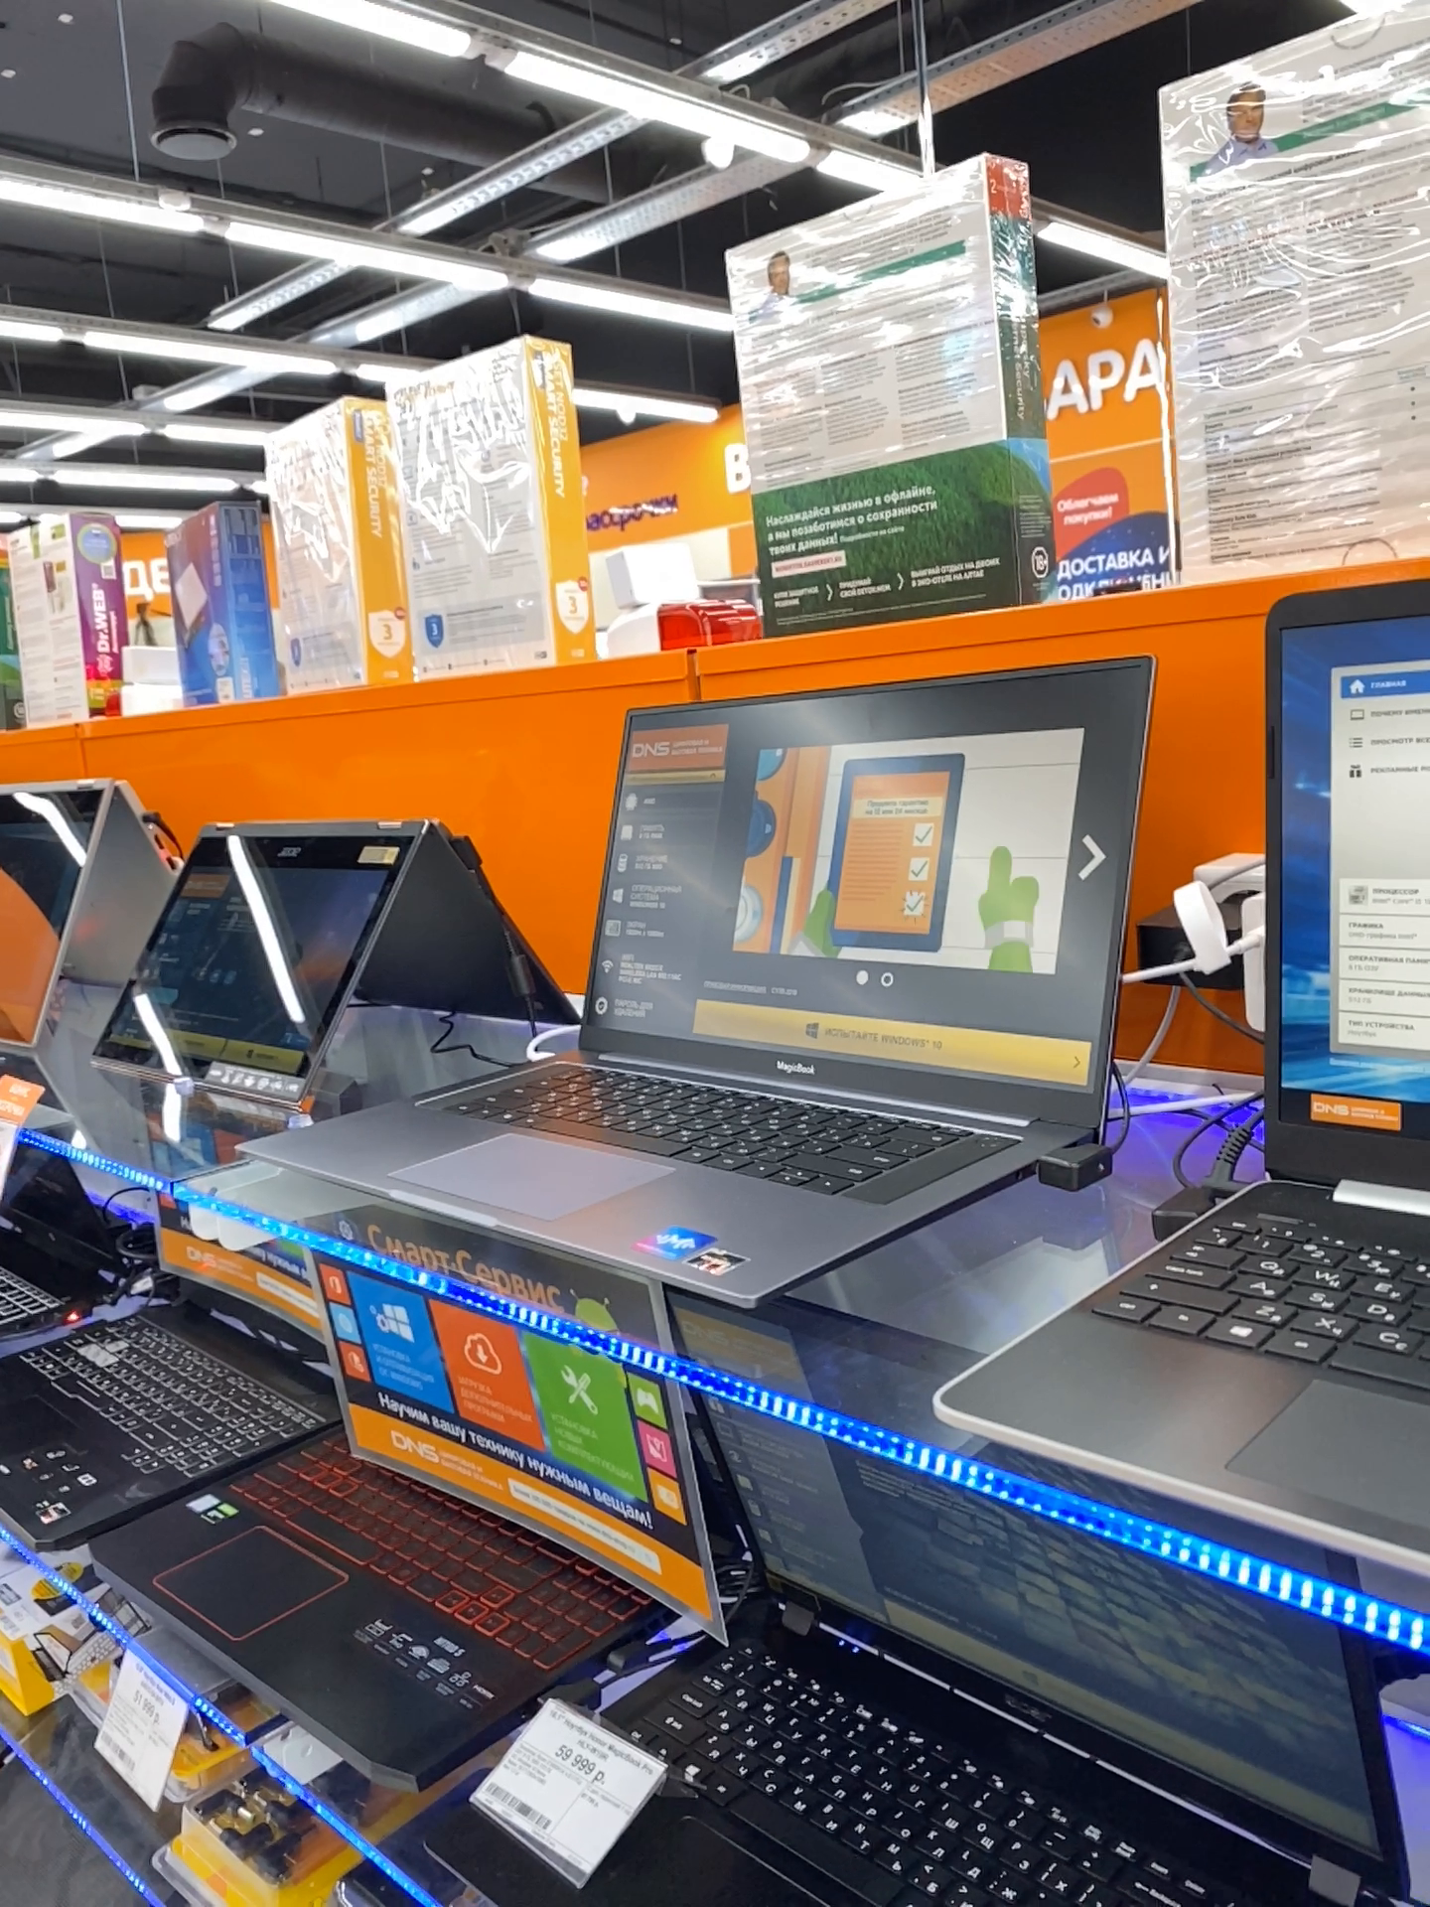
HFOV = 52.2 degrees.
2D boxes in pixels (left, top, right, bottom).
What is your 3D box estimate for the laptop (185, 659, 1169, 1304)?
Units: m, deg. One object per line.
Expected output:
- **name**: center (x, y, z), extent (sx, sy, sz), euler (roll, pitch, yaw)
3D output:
- **laptop**: center (-0.021, -0.018, 0.735), extent (0.368, 0.207, 0.314), euler (4, 13, 45)
